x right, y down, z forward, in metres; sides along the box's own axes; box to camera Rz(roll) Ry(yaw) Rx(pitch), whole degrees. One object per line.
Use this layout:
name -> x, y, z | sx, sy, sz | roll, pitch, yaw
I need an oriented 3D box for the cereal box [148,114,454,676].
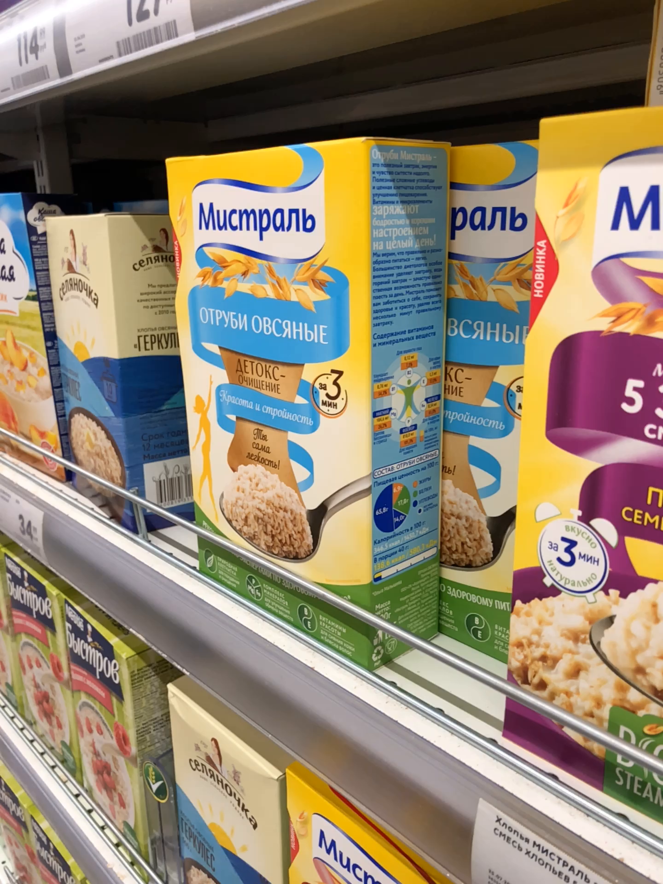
cereal box -> -0.017, -0.025, 0.335 | 0.050, 0.209, 0.140 | -15, 21, -39
